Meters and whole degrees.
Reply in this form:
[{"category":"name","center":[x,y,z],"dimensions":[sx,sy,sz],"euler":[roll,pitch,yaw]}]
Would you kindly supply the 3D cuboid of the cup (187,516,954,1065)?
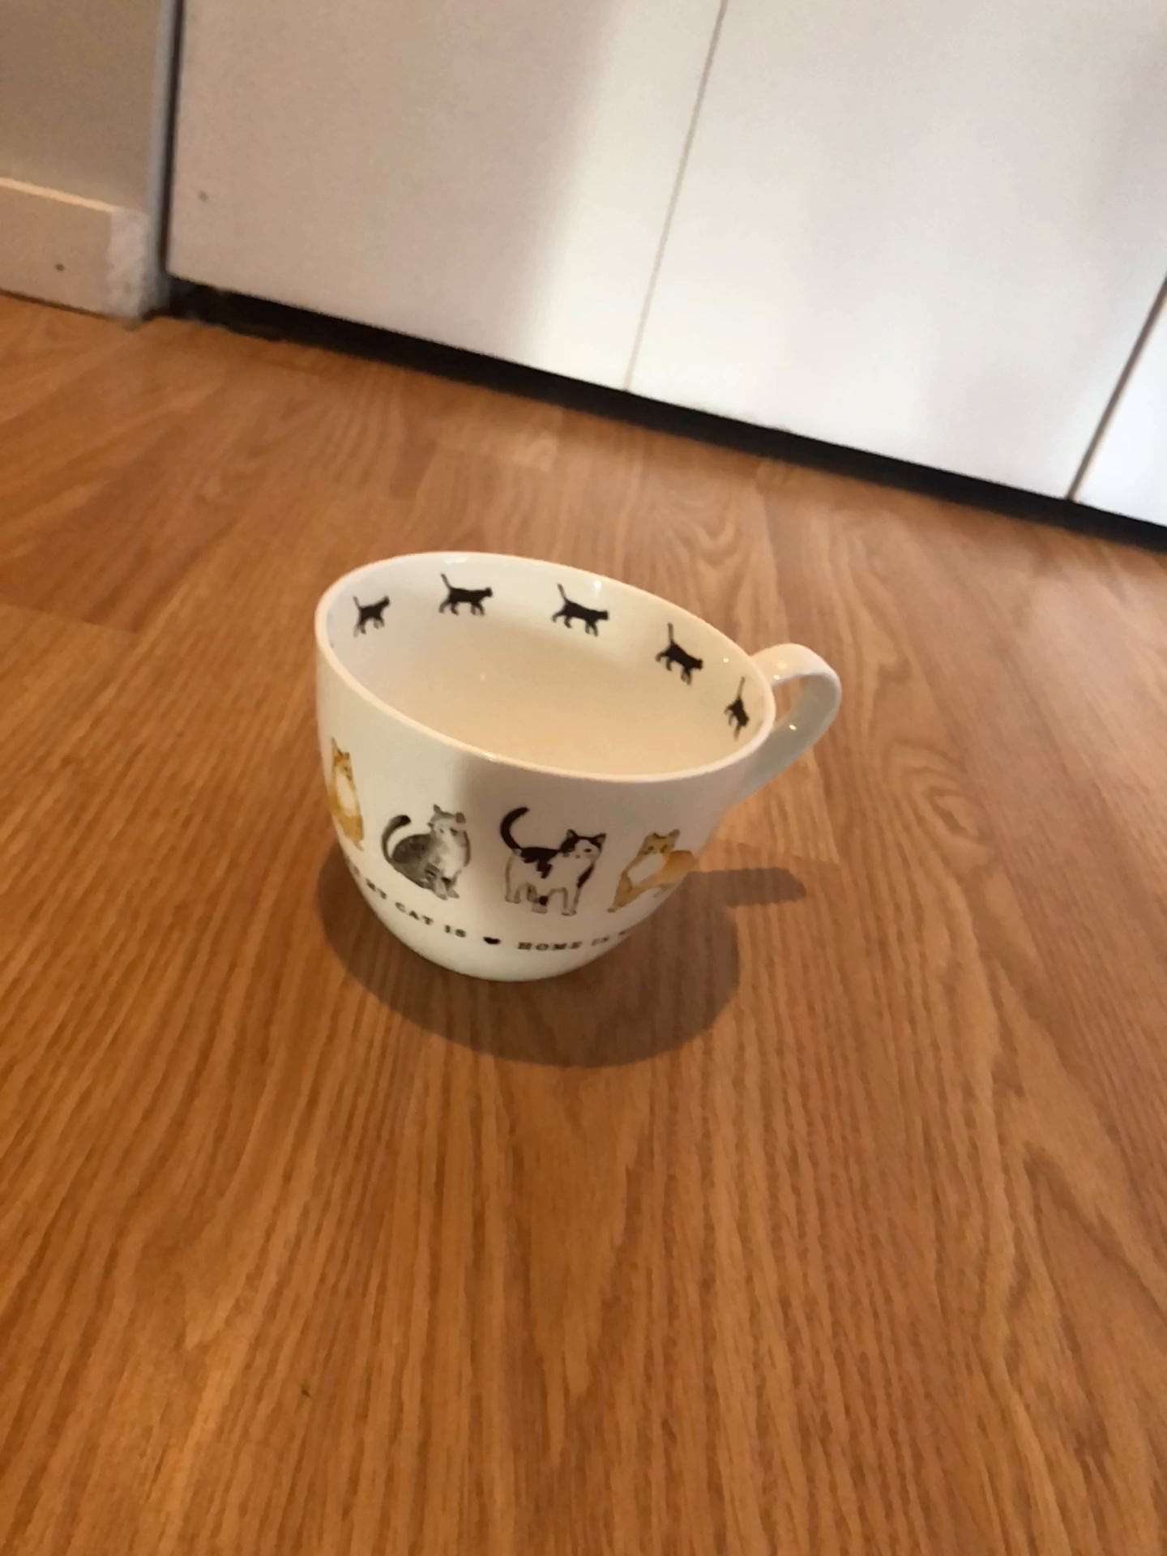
[{"category":"cup","center":[-0.010,-0.007,0.356],"dimensions":[0.160,0.080,0.120],"euler":[-4,35,-30]}]
